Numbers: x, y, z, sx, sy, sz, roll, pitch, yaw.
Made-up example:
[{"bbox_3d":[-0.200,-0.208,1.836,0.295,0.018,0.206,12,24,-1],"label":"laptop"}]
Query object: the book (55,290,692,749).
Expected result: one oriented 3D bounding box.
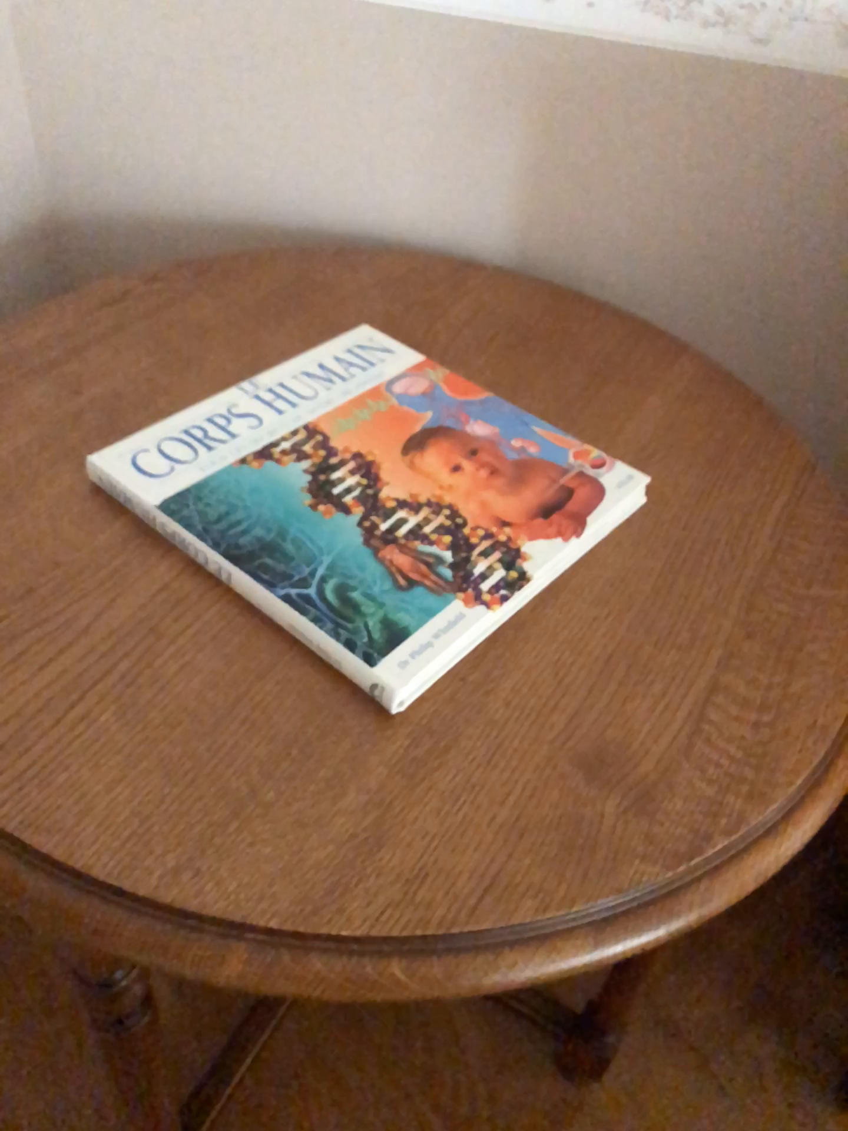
[{"bbox_3d":[-0.027,-0.061,0.598,0.290,0.040,0.272,33,50,25],"label":"book"}]
